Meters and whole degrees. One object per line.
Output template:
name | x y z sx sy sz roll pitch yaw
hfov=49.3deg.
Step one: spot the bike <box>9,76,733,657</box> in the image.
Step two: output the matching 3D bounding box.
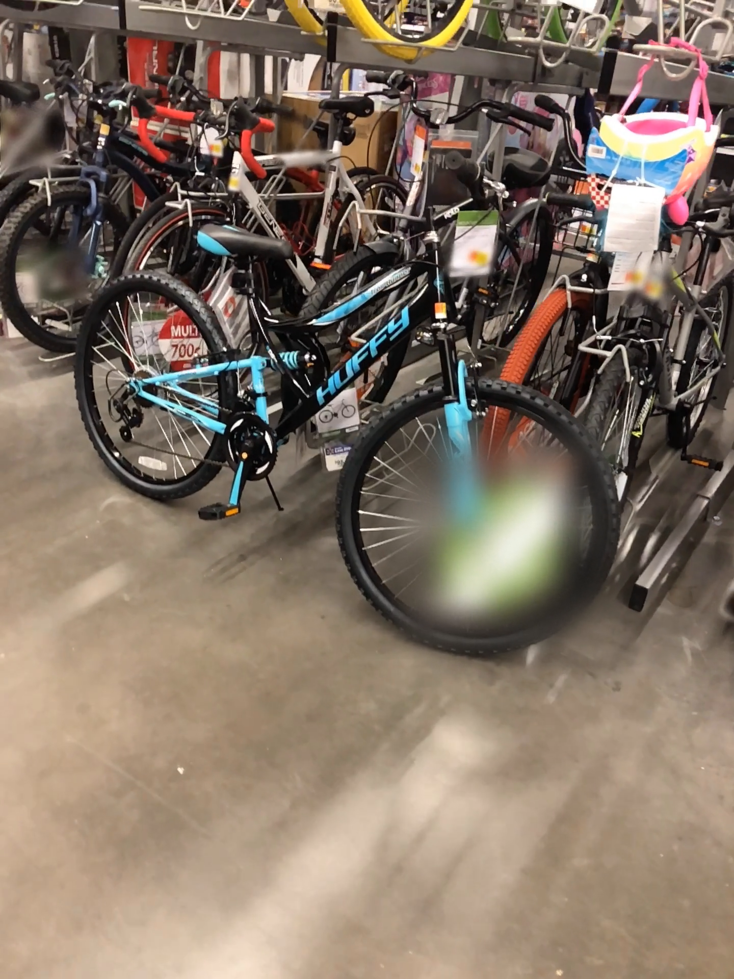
bike | -0.036 -0.424 2.161 1.707 1.120 0.546 19 33 24
